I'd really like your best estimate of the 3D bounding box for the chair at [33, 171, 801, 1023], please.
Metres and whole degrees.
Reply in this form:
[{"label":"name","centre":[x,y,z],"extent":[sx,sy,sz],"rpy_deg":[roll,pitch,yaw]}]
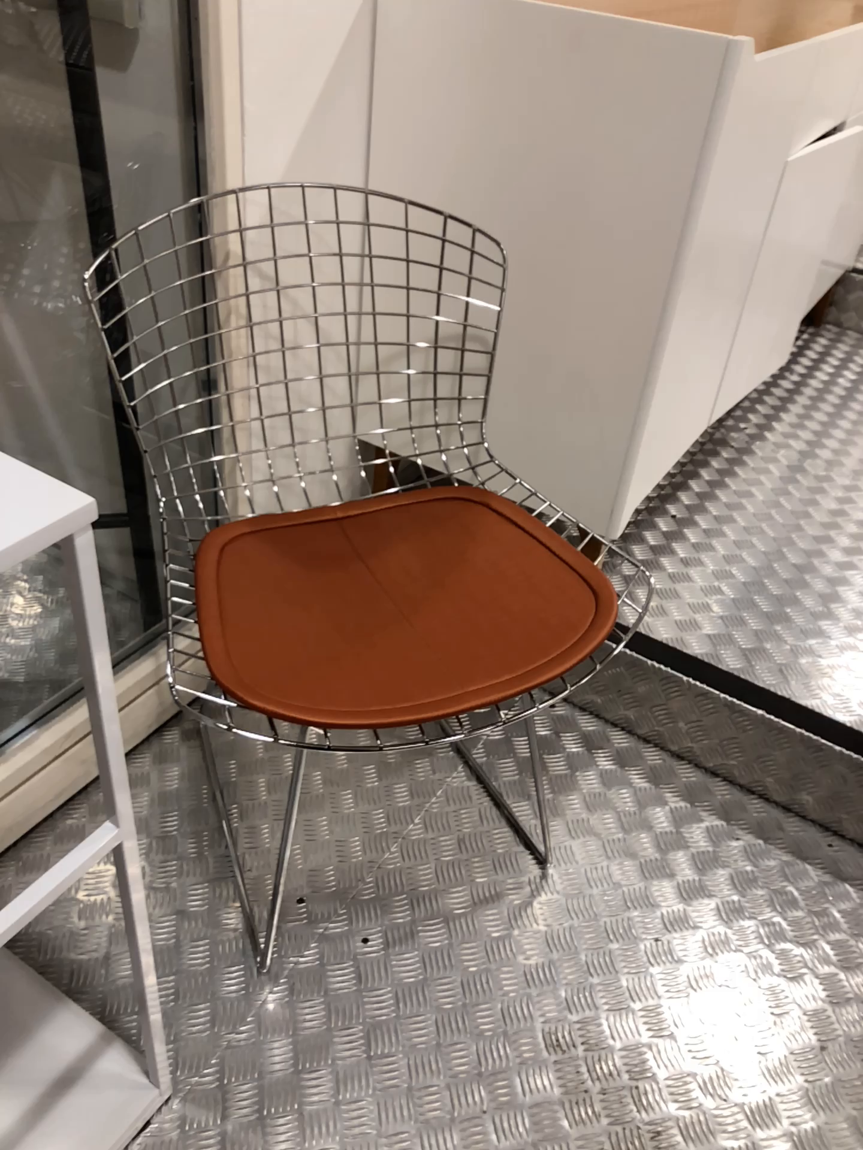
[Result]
[{"label":"chair","centre":[-0.079,-0.020,1.127],"extent":[0.551,0.704,0.573],"rpy_deg":[-13,40,-24]}]
